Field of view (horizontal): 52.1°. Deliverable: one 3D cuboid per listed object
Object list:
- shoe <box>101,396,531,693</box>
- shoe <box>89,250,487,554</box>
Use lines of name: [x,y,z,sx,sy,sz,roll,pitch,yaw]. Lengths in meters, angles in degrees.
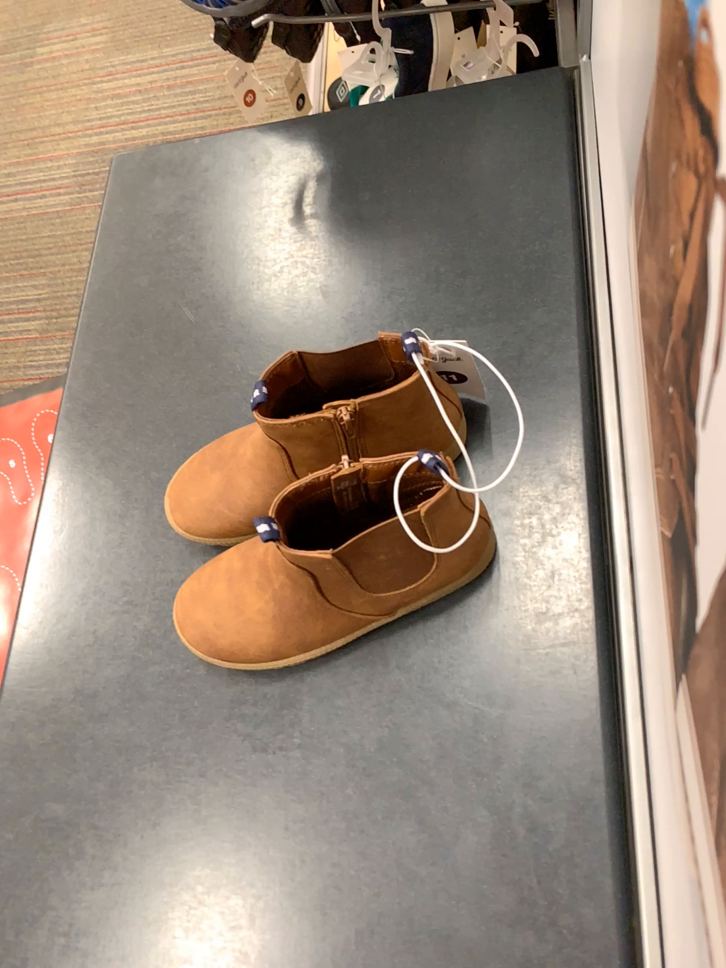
shoe: [-0.021,0.040,0.384,0.190,0.100,0.086,-15,66,9]
shoe: [-0.039,-0.037,0.416,0.190,0.100,0.086,-15,66,9]
